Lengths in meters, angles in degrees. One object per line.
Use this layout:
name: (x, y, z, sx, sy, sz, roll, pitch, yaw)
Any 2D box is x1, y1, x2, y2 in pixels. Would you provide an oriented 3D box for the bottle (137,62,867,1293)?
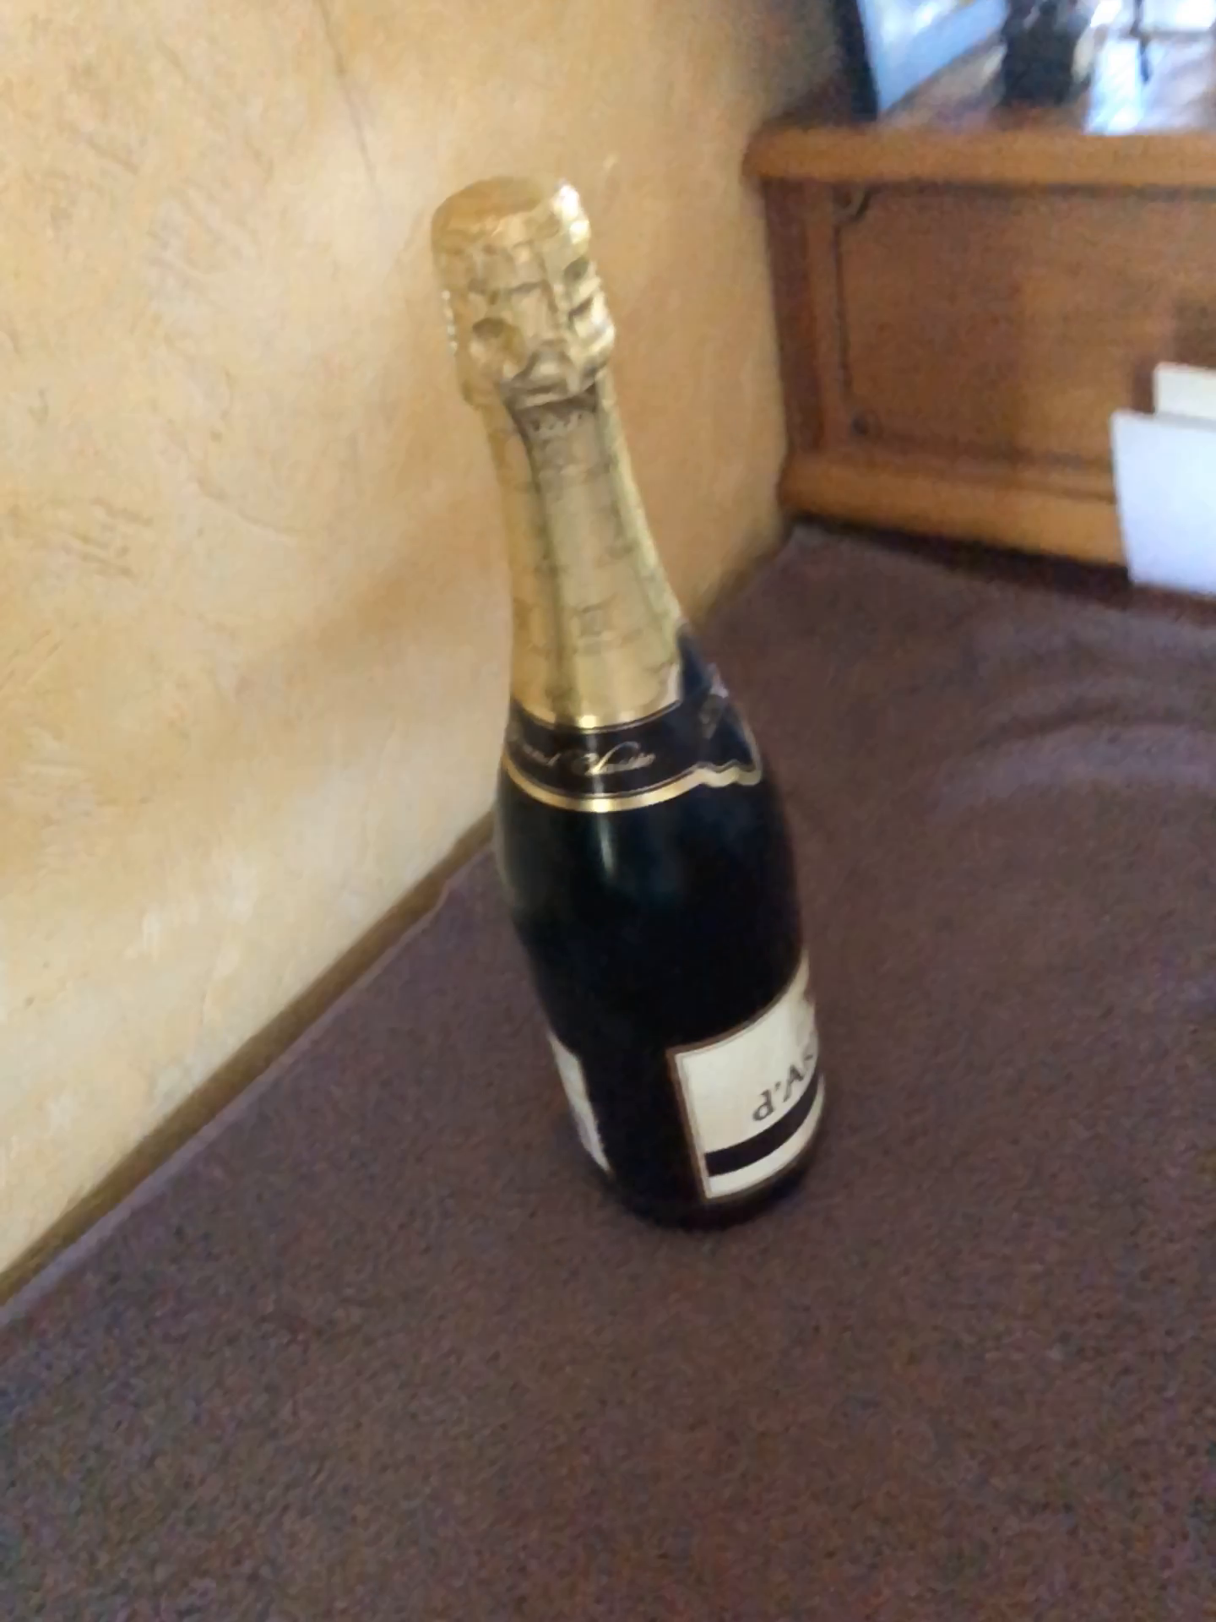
bottle: (0.004, -0.007, 0.364, 0.100, 0.318, 0.101, -8, 40, 6)
